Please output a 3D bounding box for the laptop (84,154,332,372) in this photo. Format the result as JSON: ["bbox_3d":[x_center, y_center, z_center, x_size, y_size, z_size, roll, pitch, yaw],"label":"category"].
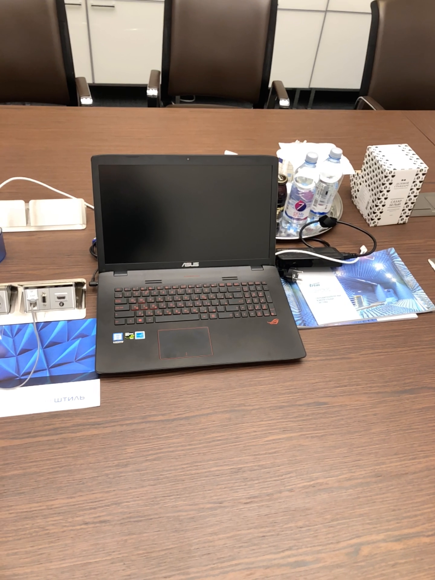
[{"bbox_3d":[-0.043,-0.071,0.912,0.379,0.194,0.370,-3,47,-10],"label":"laptop"}]
